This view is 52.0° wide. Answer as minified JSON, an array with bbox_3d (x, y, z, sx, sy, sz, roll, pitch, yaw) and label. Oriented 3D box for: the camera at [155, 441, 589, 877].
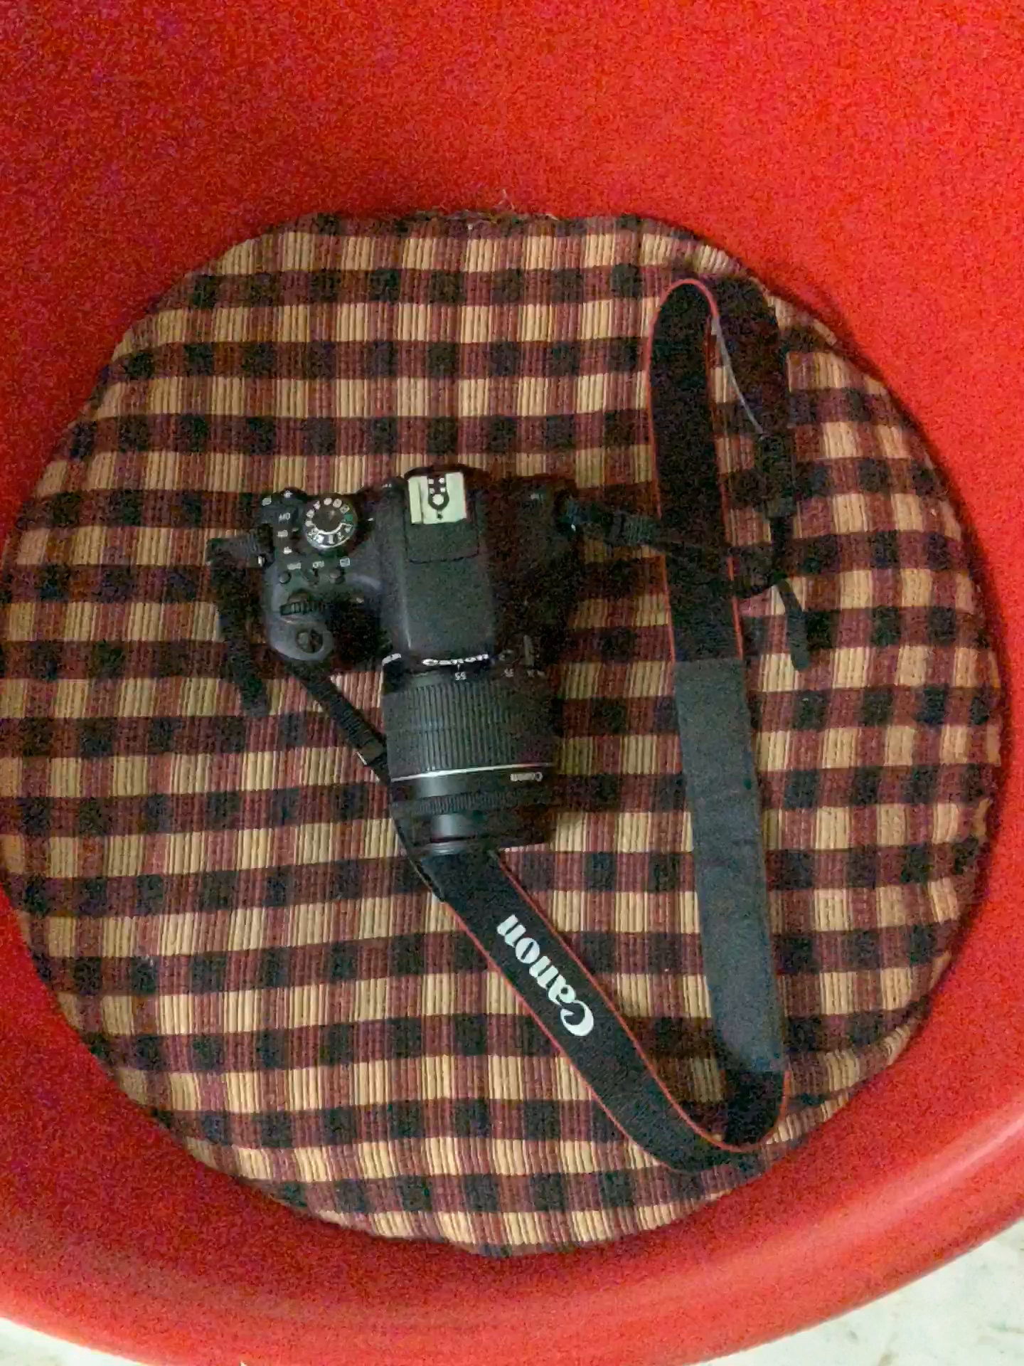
[{"bbox_3d":[-0.046,-0.005,0.421,0.140,0.130,0.138,-4,86,2],"label":"camera"}]
